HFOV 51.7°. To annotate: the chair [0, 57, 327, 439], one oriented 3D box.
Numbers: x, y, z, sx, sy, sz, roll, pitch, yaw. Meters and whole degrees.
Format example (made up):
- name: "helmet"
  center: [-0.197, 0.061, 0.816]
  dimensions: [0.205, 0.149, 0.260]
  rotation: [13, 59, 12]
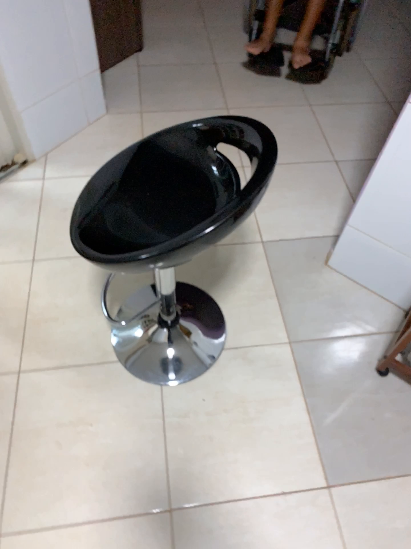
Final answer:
- name: "chair"
  center: [-0.078, -0.001, 1.107]
  dimensions: [0.444, 0.814, 0.454]
  rotation: [25, 57, 14]
